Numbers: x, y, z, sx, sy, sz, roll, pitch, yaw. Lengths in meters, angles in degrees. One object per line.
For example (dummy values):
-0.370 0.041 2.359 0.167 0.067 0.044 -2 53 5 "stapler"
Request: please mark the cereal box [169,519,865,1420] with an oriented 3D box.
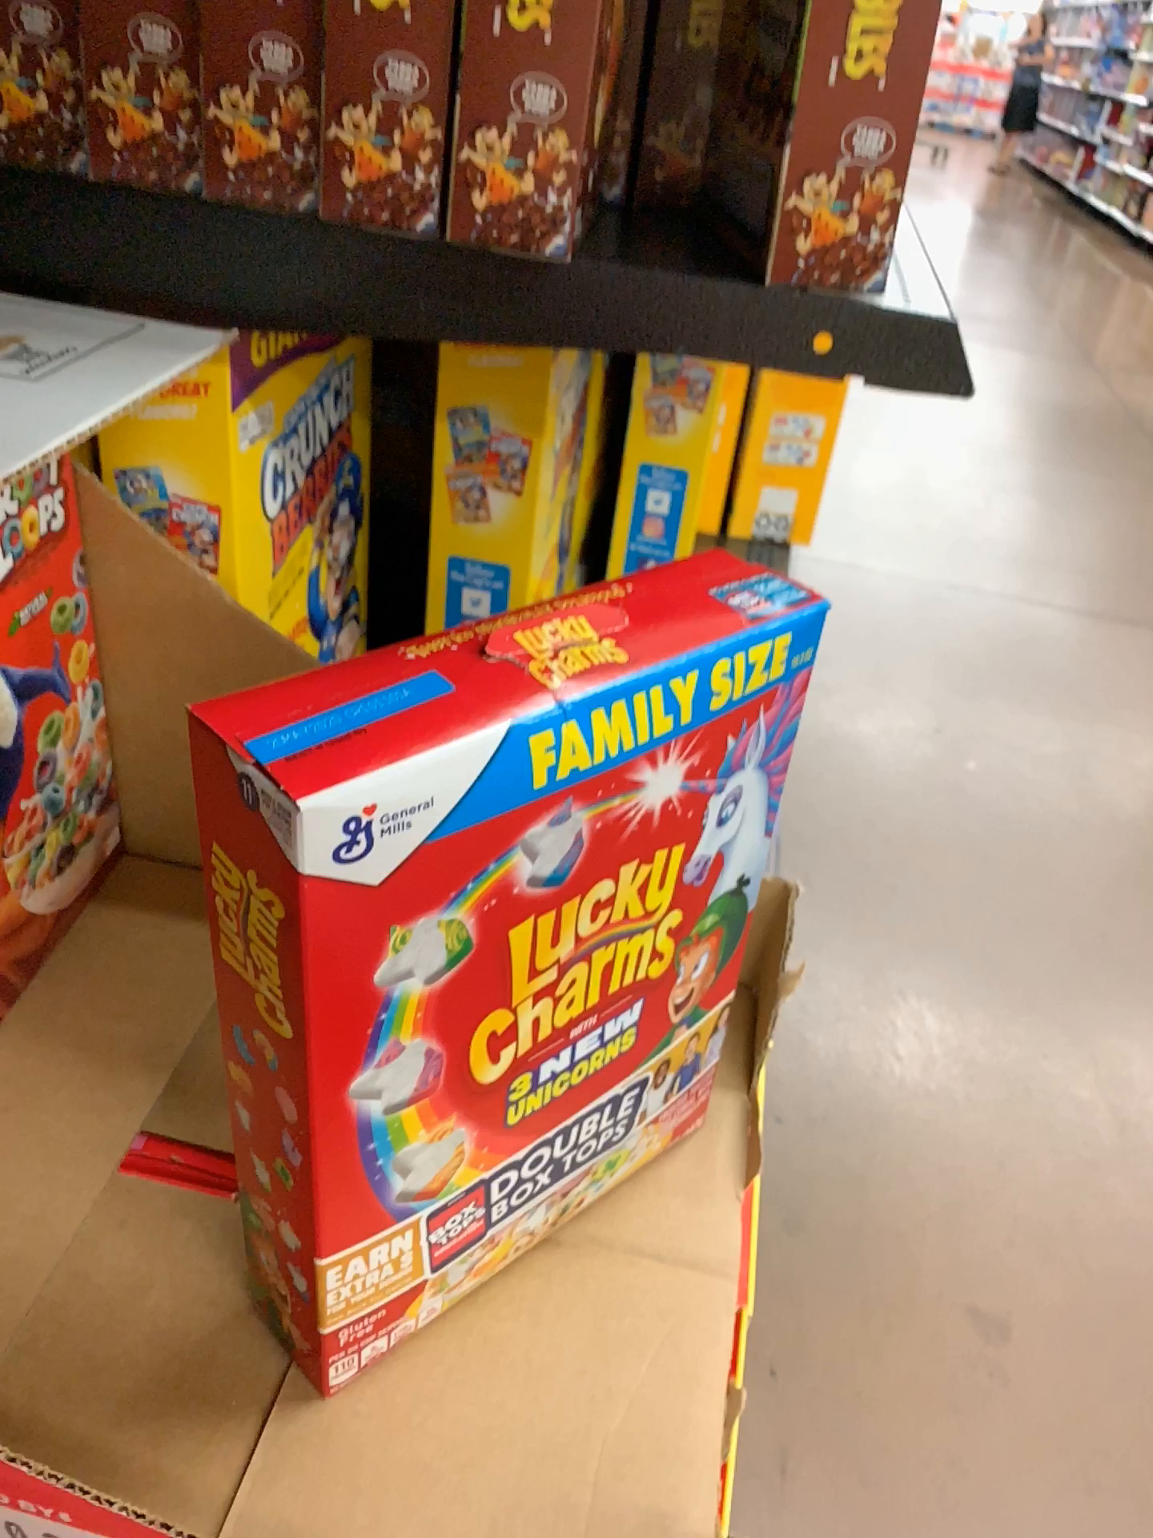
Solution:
-0.018 0.074 0.451 0.231 0.288 0.060 -24 45 -36 "cereal box"
